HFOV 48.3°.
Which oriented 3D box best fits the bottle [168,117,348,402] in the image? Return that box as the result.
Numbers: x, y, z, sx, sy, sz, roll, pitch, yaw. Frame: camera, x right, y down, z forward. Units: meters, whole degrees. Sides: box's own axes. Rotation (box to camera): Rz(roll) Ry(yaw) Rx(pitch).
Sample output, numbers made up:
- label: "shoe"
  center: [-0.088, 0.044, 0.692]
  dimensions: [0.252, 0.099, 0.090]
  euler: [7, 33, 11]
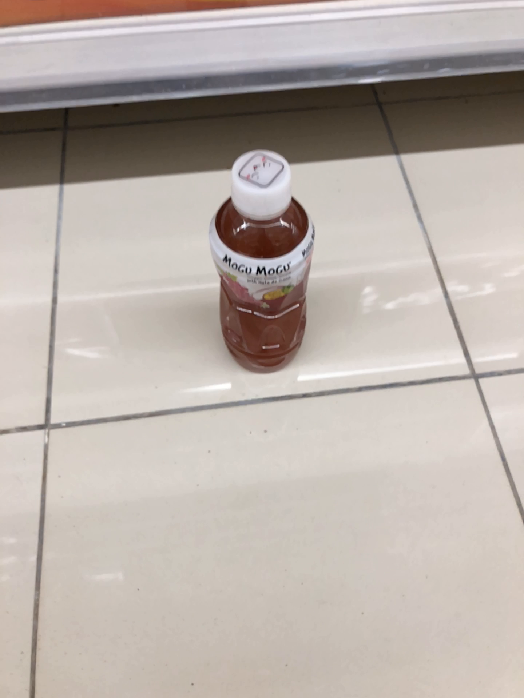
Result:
- label: "bottle"
  center: [0.000, -0.042, 0.346]
  dimensions: [0.070, 0.159, 0.070]
  euler: [0, 59, 0]
